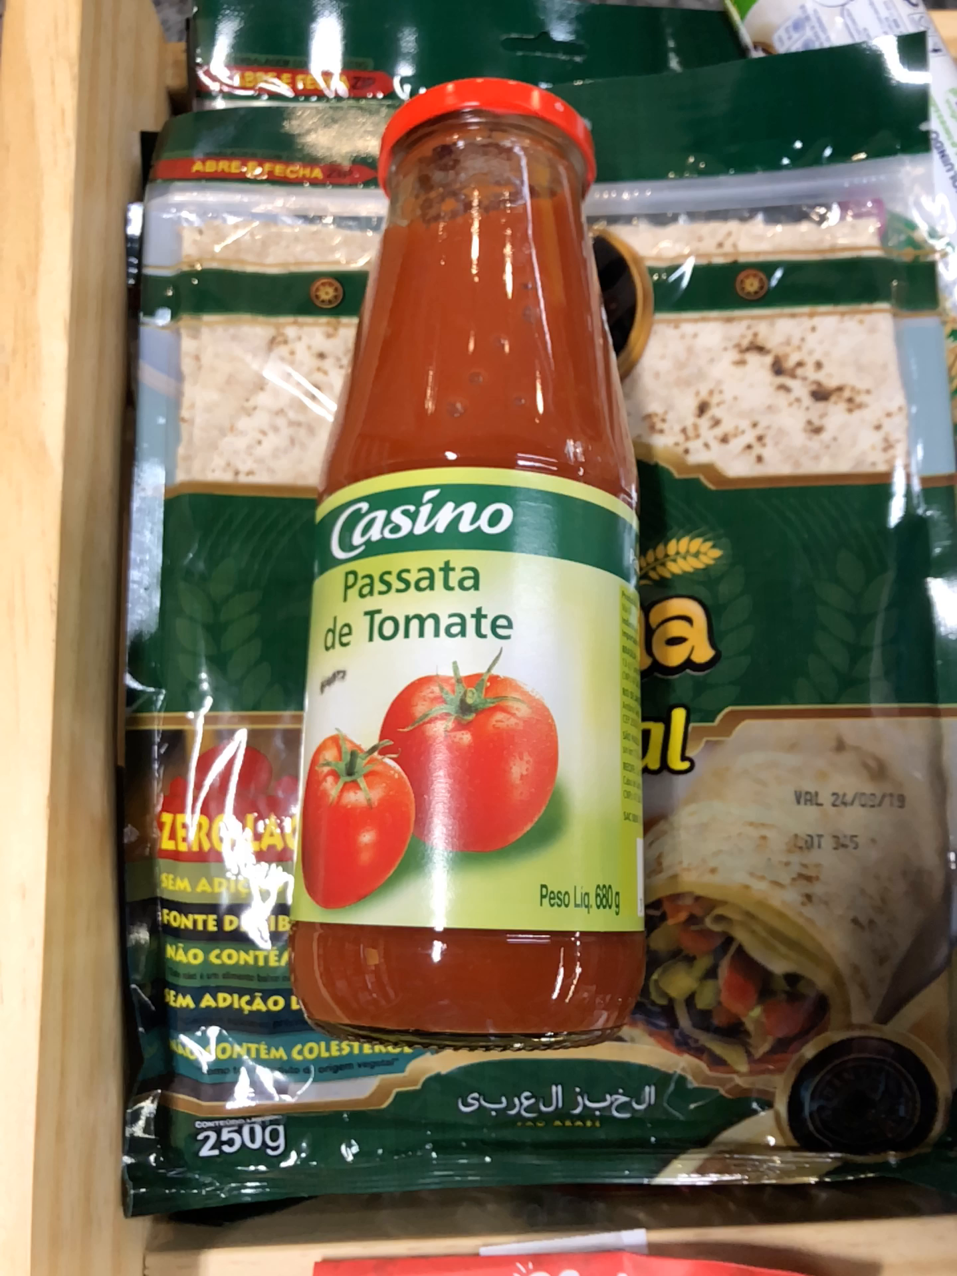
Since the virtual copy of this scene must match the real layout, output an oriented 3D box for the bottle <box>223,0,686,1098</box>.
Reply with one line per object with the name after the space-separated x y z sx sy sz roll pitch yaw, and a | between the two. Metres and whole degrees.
0.002 -0.026 0.254 0.070 0.080 0.230 -4 77 27 | bottle
